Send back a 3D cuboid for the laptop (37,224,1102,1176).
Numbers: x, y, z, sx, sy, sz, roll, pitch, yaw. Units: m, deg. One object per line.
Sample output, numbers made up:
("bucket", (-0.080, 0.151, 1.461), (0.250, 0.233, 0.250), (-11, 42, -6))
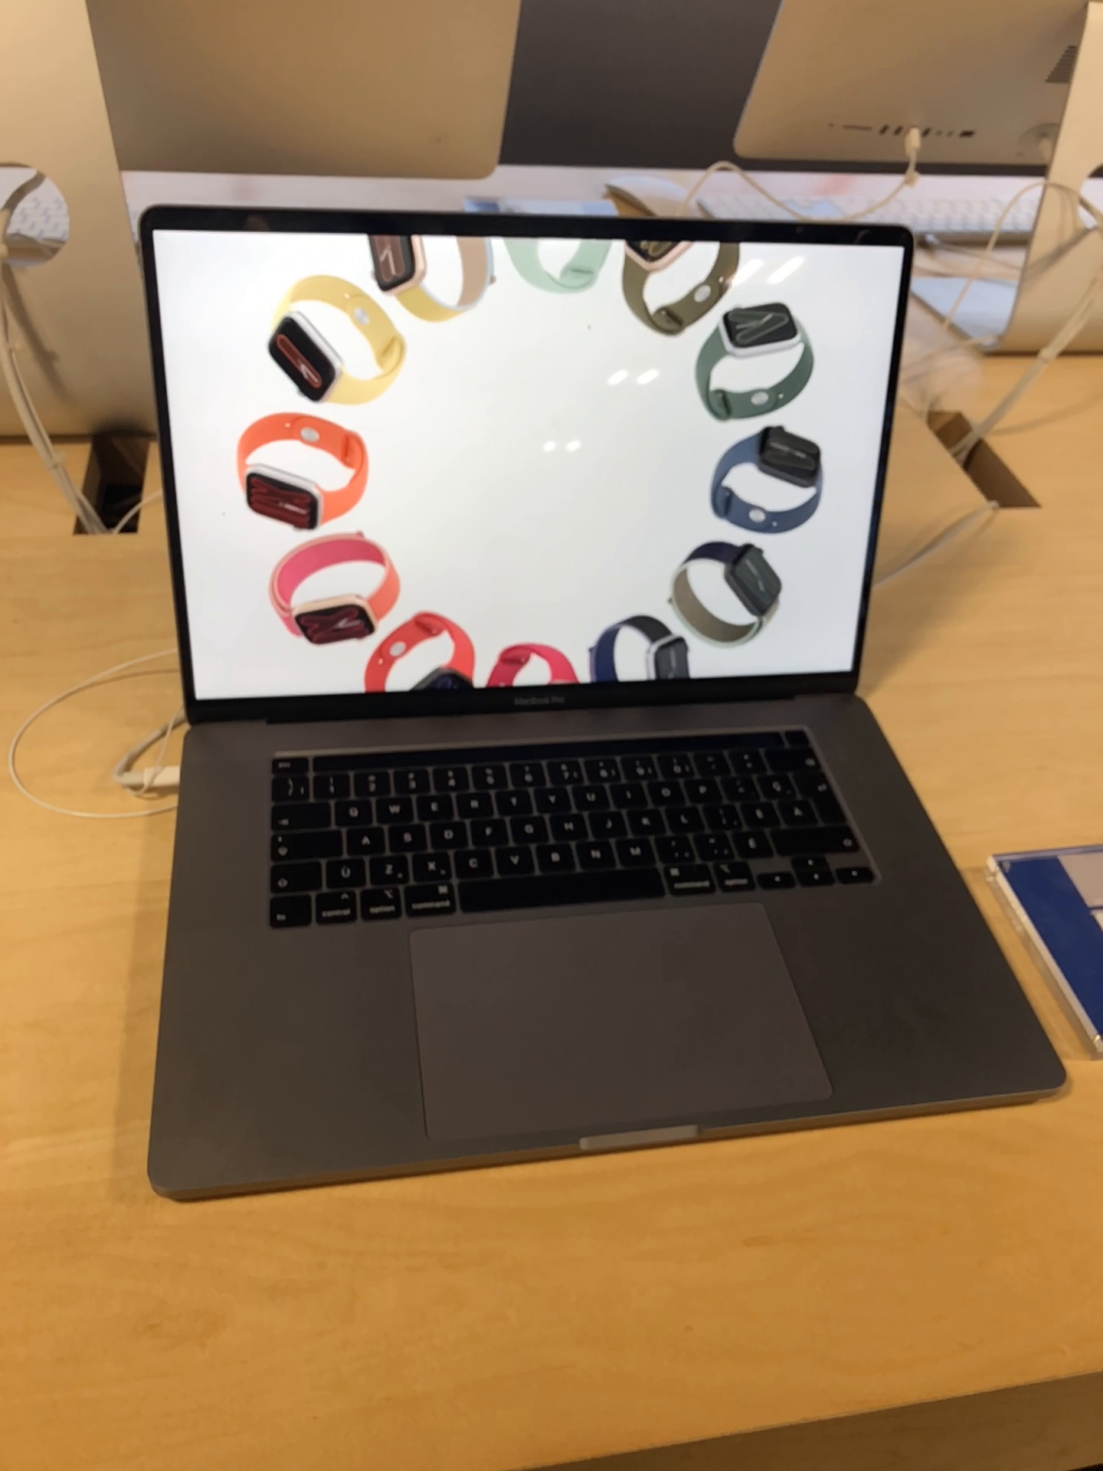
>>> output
("laptop", (0.016, -0.038, 0.513), (0.352, 0.230, 0.316), (-3, 42, -10))
